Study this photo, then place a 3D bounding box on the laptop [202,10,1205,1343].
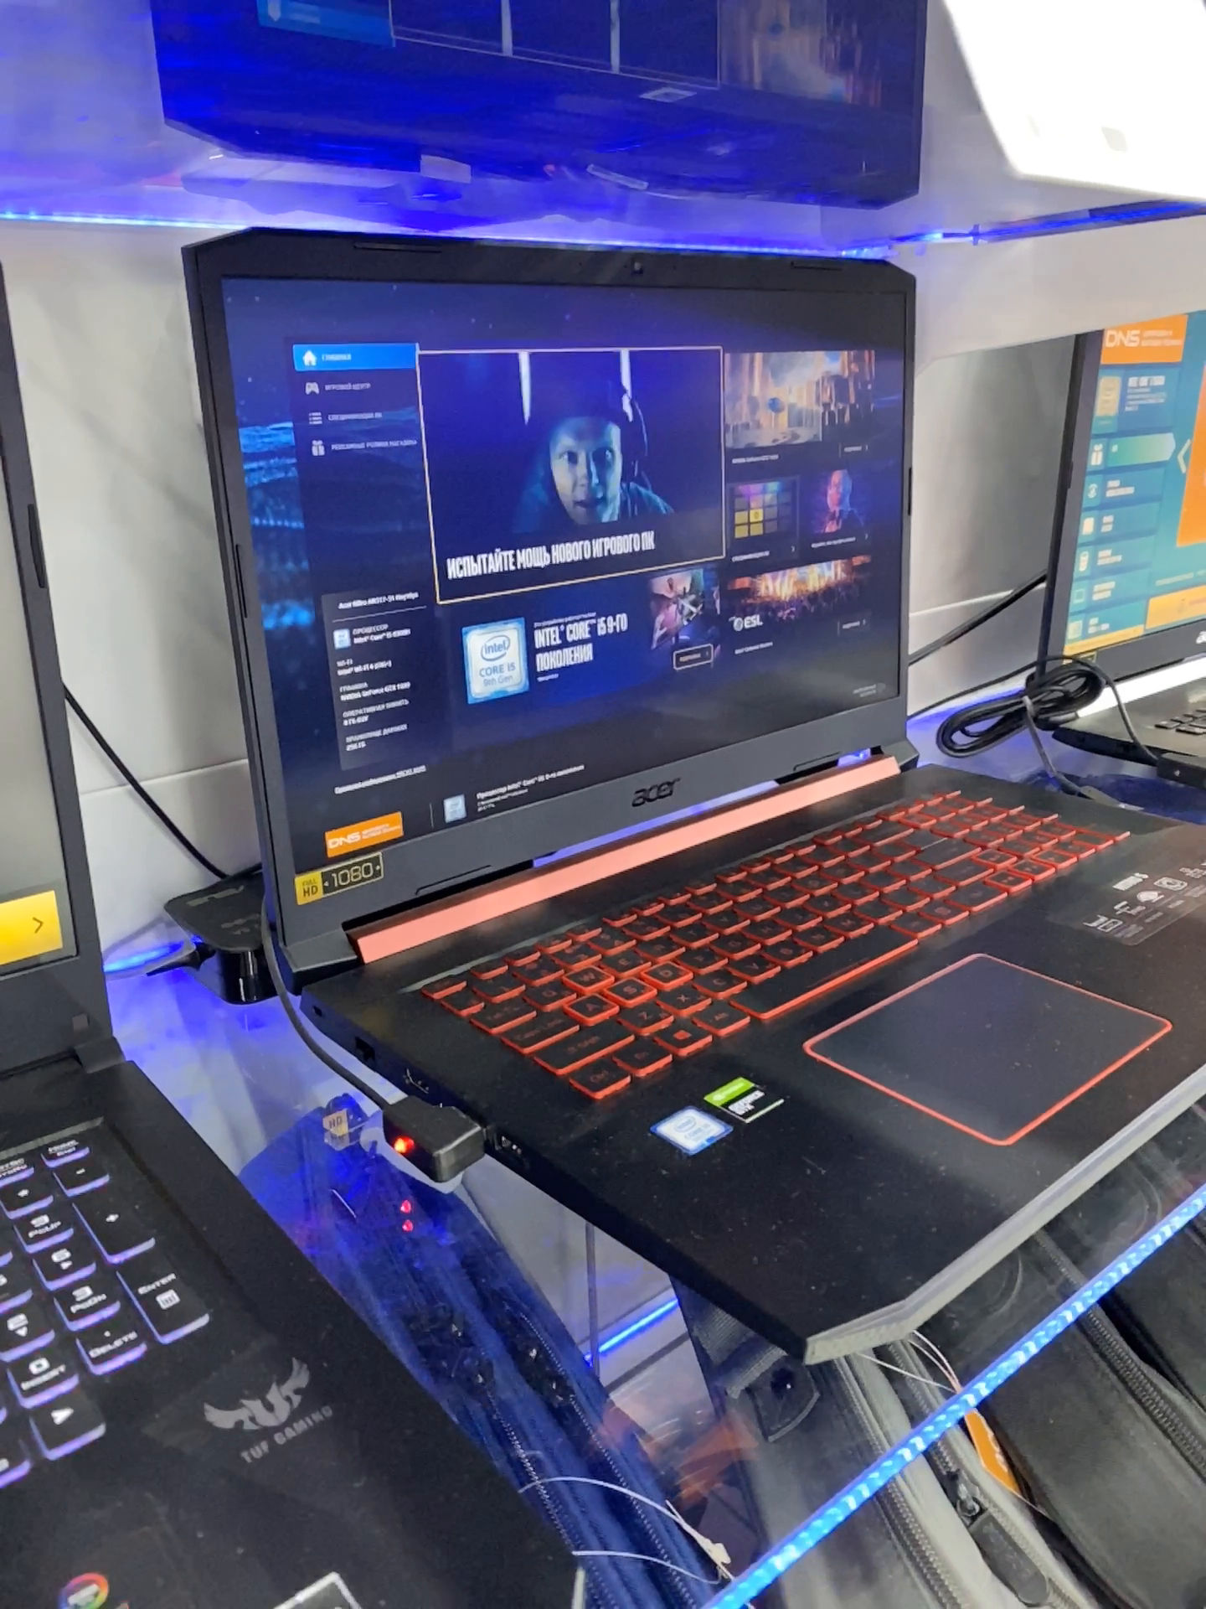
[{"bbox_3d":[0.111,-0.078,0.477,0.406,0.268,0.284,-16,23,-38],"label":"laptop"}]
